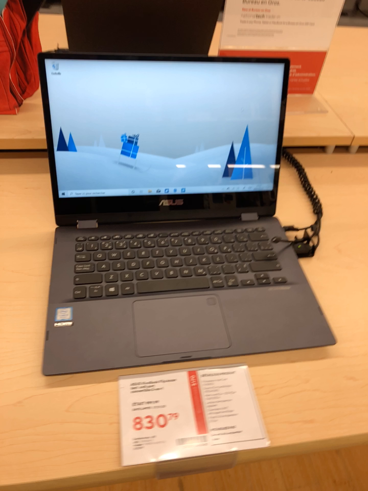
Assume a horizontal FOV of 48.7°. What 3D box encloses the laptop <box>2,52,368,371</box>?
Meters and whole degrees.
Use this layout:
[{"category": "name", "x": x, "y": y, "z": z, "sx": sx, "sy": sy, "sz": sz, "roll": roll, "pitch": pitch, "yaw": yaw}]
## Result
[{"category": "laptop", "x": -0.001, "y": -0.060, "z": 0.474, "sx": 0.312, "sy": 0.188, "sz": 0.314, "roll": -3, "pitch": 47, "yaw": -9}]
